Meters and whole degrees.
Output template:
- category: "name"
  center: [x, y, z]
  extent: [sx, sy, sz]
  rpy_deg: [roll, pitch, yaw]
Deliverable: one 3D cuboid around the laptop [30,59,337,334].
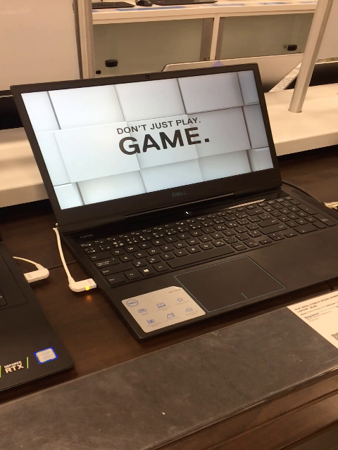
- category: "laptop"
  center: [0.063, -0.064, 0.560]
  extent: [0.353, 0.175, 0.307]
  rpy_deg: [-16, 41, -18]
